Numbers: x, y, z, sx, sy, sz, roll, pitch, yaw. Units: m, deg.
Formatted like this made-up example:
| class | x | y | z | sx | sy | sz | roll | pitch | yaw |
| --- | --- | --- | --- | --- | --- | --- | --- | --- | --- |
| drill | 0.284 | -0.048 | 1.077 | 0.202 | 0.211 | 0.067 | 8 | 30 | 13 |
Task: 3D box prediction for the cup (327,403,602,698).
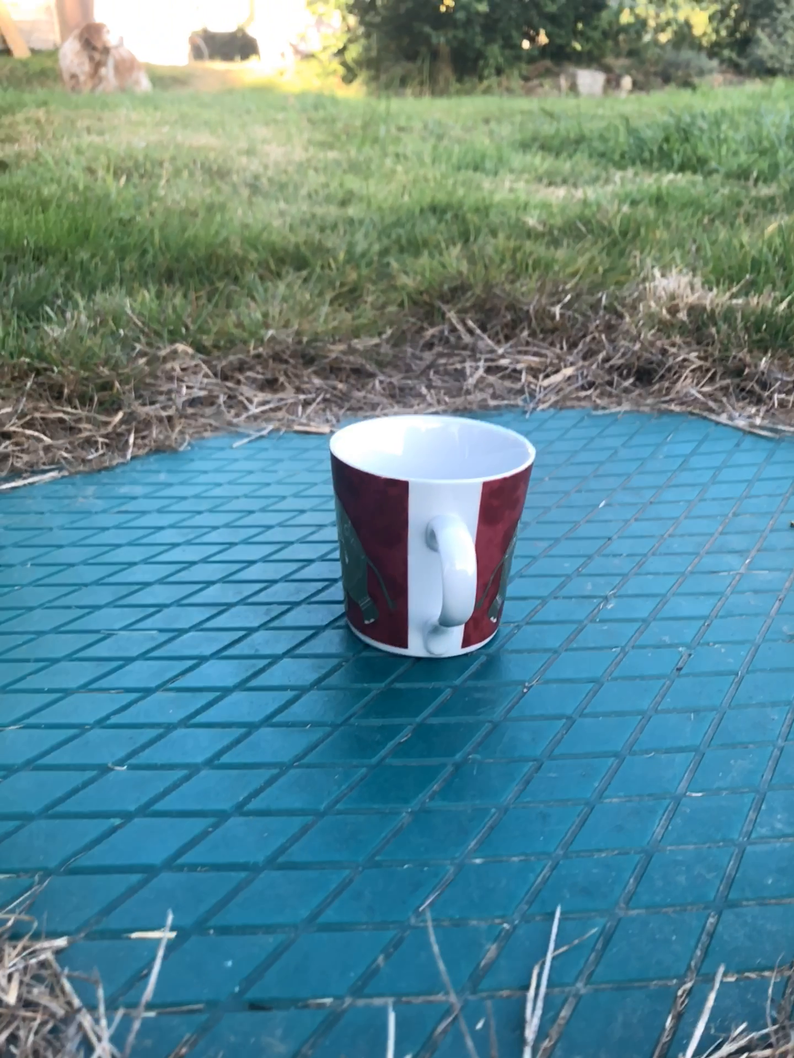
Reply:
| class | x | y | z | sx | sy | sz | roll | pitch | yaw |
| --- | --- | --- | --- | --- | --- | --- | --- | --- | --- |
| cup | 0.017 | 0.001 | 0.335 | 0.082 | 0.070 | 0.110 | -1 | 23 | -7 |
